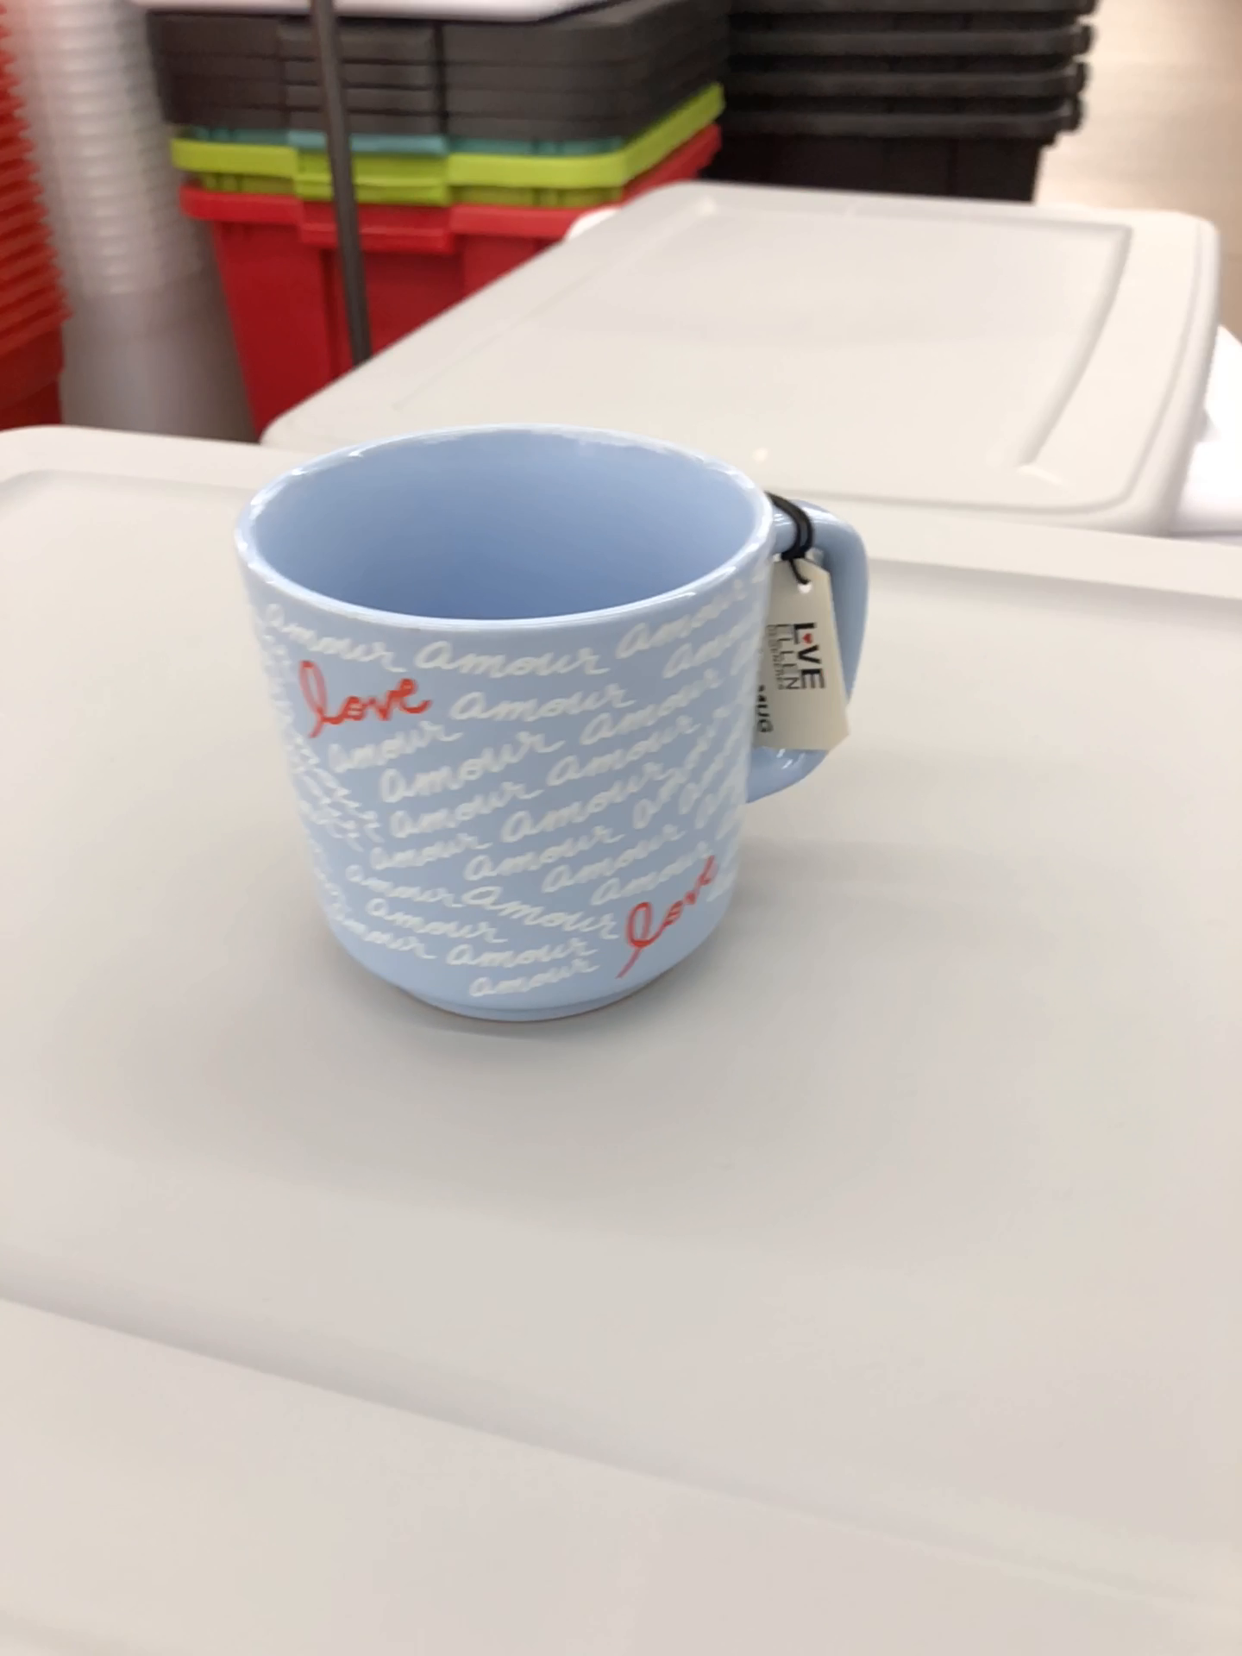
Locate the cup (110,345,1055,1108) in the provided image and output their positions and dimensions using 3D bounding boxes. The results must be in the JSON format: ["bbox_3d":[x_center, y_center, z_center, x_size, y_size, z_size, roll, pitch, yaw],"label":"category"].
[{"bbox_3d":[-0.008,-0.032,0.275,0.140,0.080,0.100,-20,39,-25],"label":"cup"}]
